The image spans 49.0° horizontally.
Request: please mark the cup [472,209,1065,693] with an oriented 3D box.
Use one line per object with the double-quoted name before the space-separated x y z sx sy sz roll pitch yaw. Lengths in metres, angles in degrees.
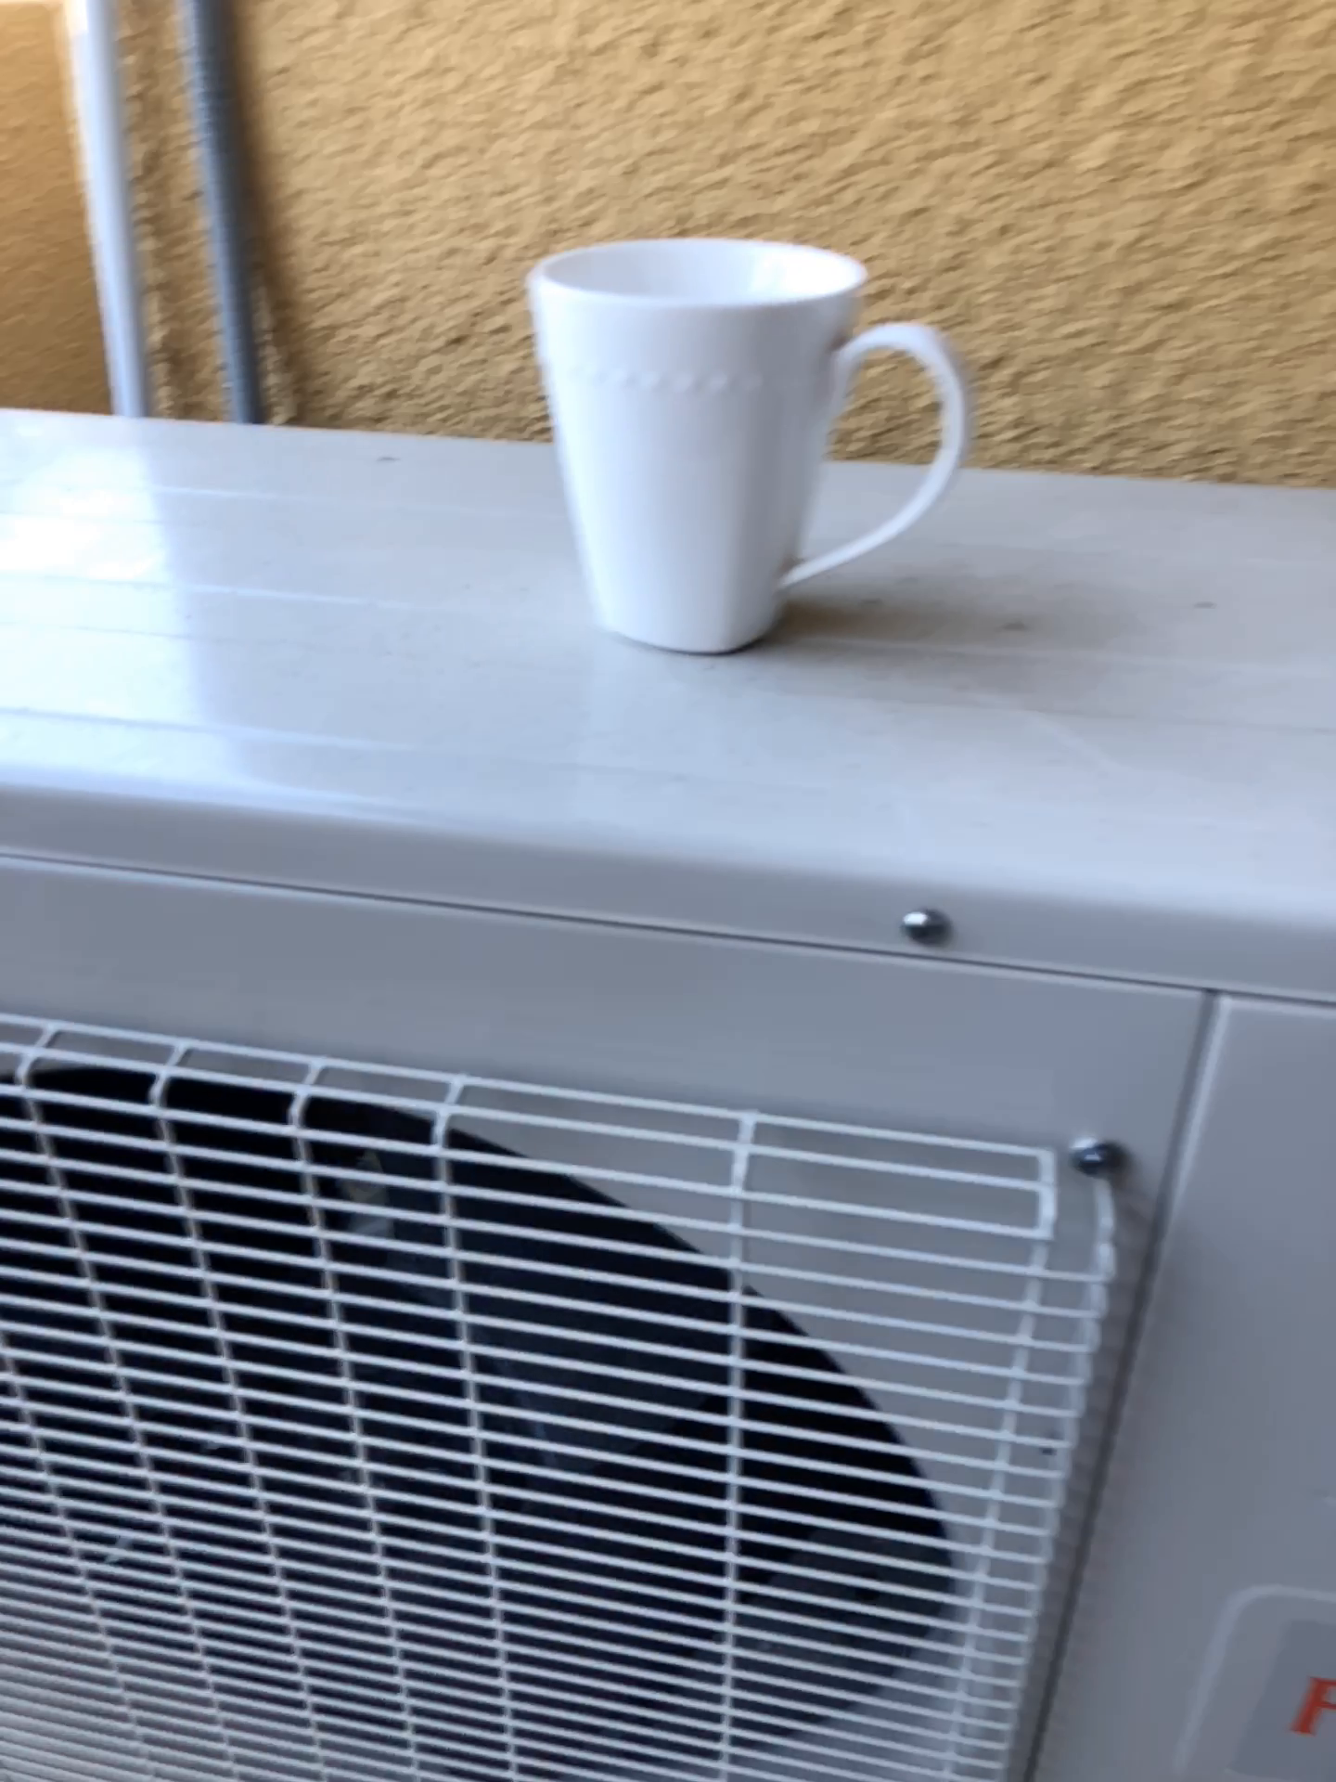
"cup" 0.030 -0.136 0.434 0.140 0.099 0.101 14 34 18
